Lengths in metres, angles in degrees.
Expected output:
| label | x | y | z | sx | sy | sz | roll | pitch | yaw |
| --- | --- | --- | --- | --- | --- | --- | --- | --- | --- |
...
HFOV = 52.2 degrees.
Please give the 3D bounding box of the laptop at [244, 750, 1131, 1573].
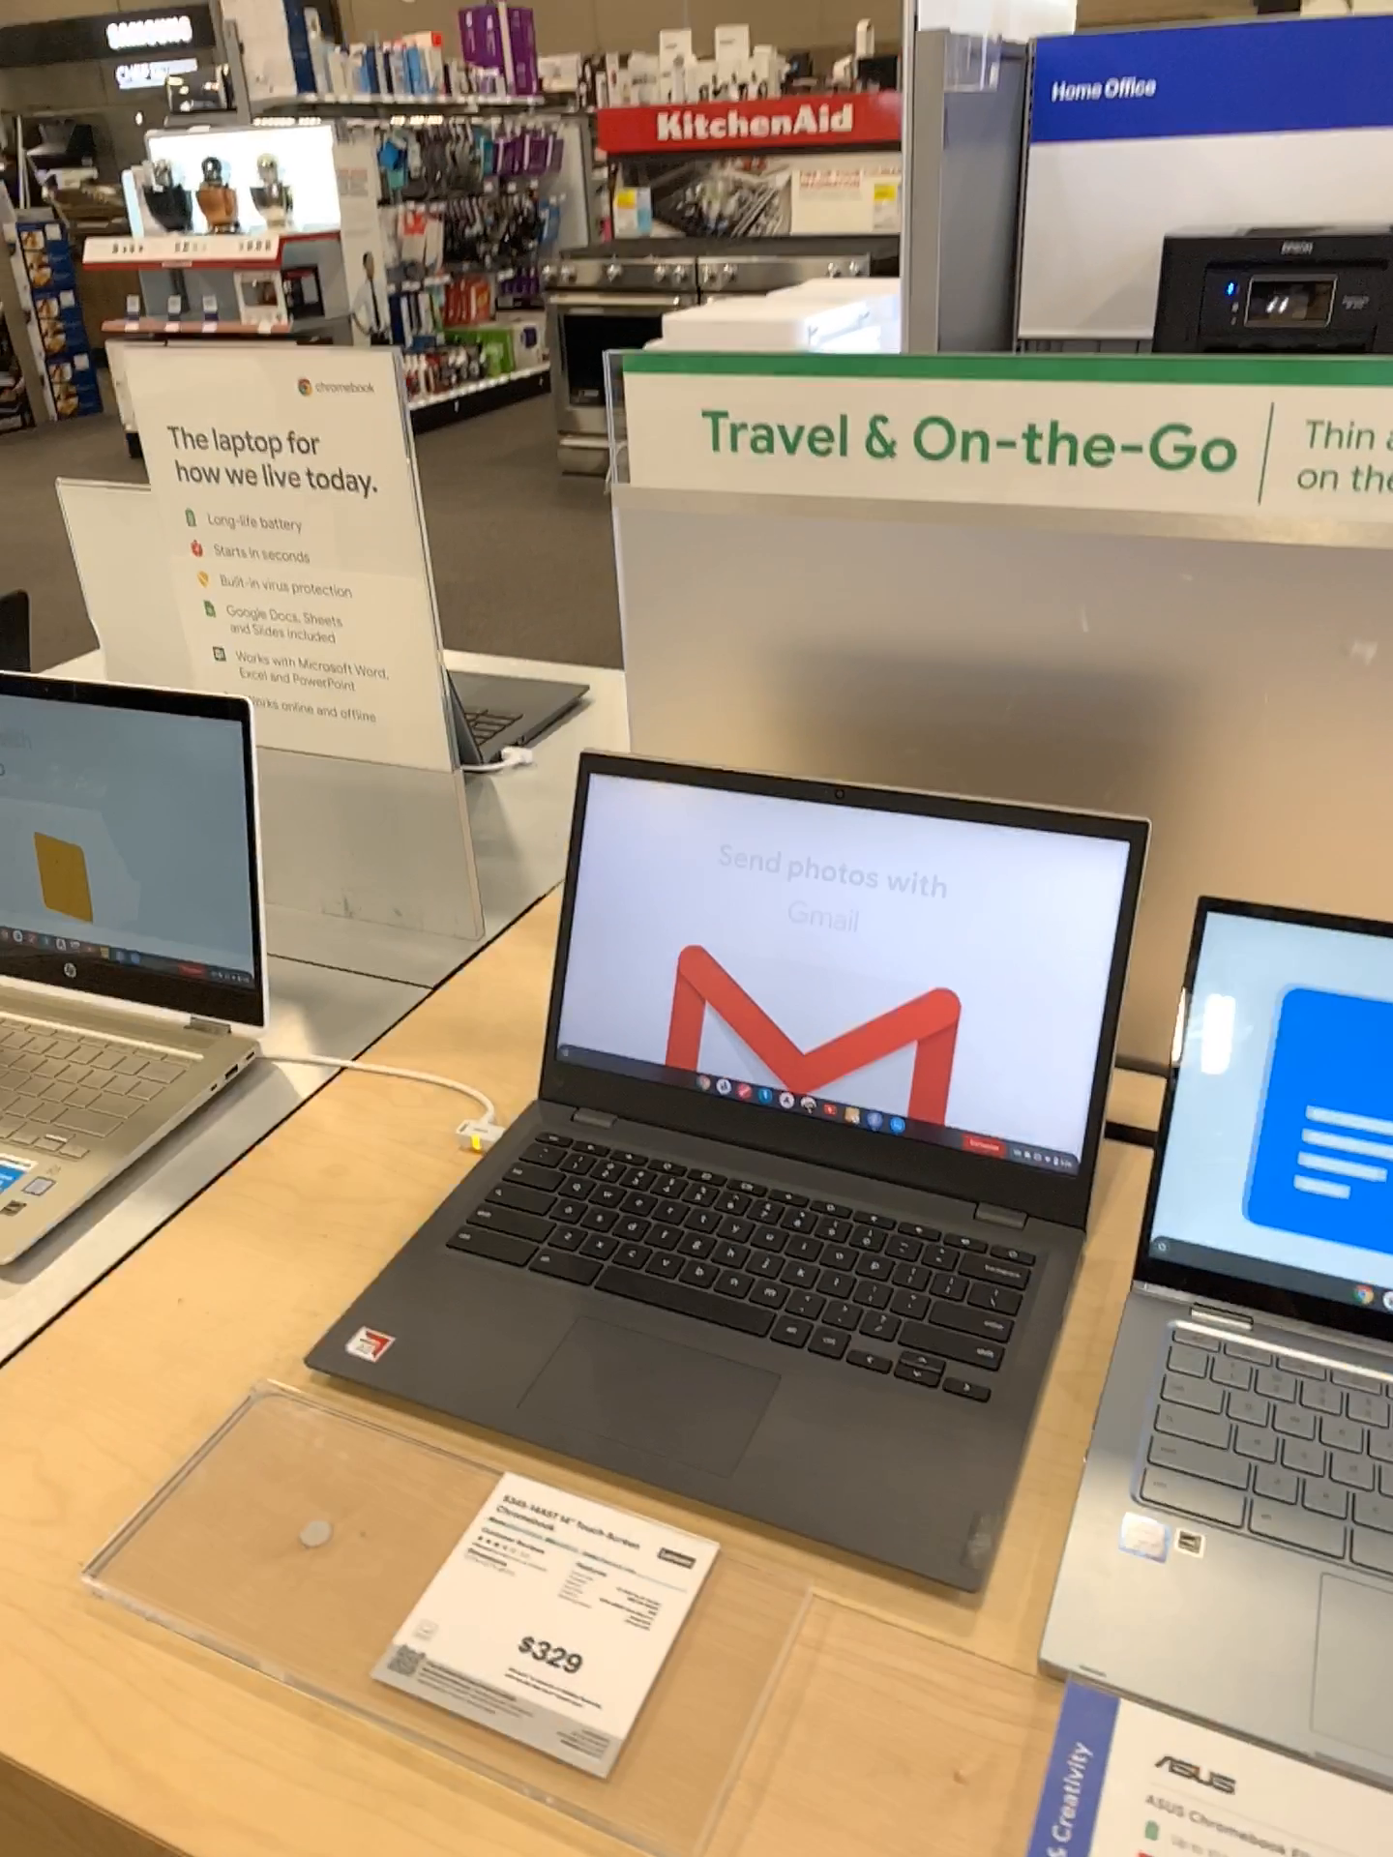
| label | x | y | z | sx | sy | sz | roll | pitch | yaw |
| --- | --- | --- | --- | --- | --- | --- | --- | --- | --- |
| laptop | 0.019 | 0.074 | 0.690 | 0.310 | 0.188 | 0.300 | 10 | 31 | 22 |
